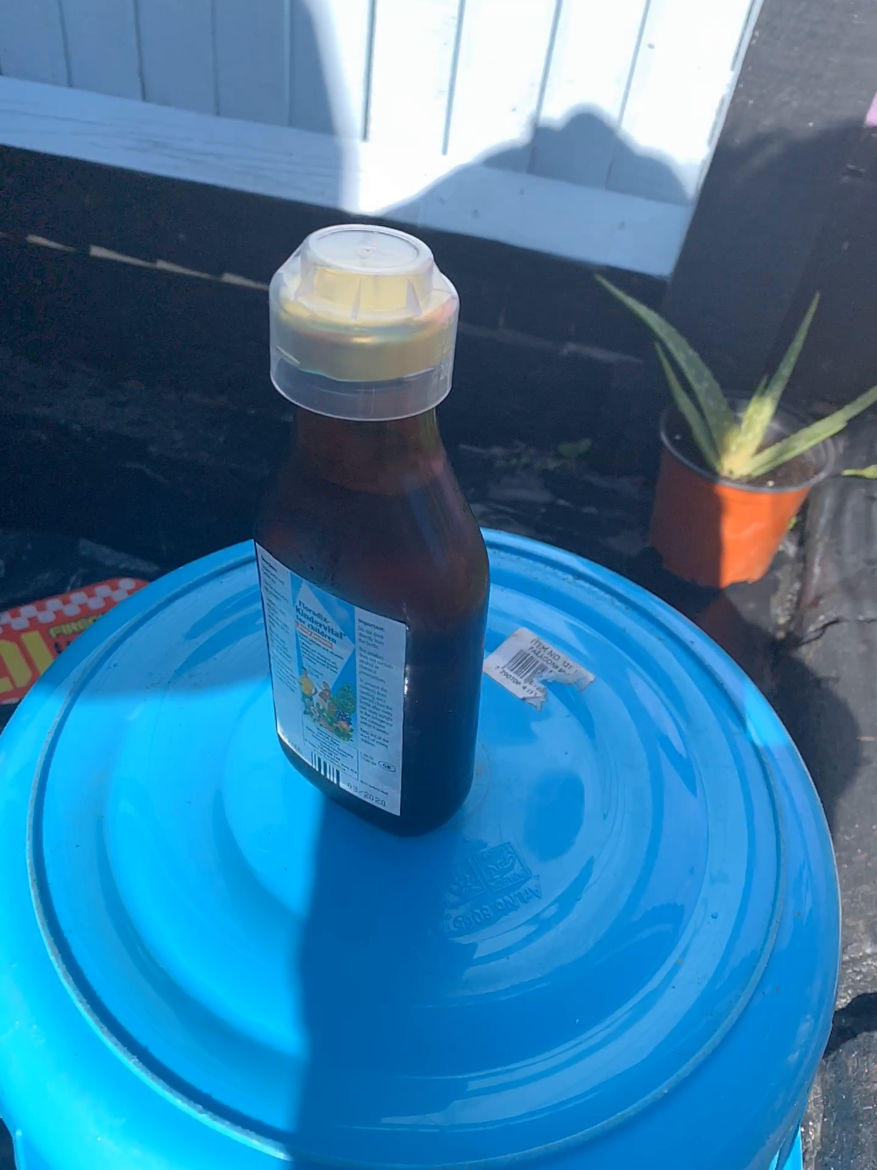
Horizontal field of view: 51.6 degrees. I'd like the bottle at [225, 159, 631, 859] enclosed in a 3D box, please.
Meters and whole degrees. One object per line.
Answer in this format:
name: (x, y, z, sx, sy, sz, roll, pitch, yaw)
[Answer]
bottle: (-0.014, -0.009, 0.275, 0.080, 0.198, 0.050, 27, 45, 18)
